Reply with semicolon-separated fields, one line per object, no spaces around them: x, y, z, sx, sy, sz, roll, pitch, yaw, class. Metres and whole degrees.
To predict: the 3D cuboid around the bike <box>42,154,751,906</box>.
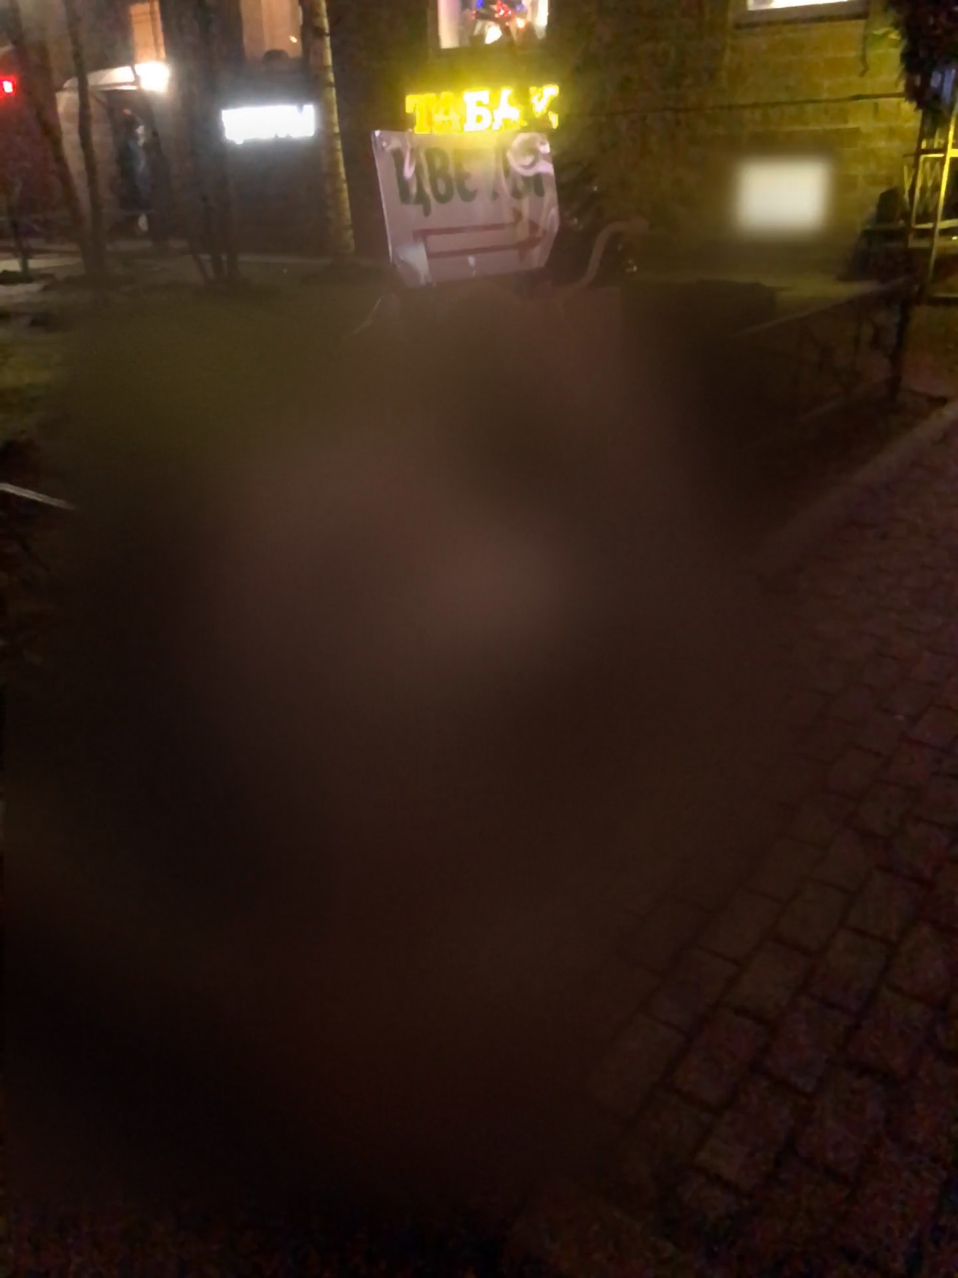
-0.006;-0.473;2.560;0.606;1.118;1.837;14;32;31;bike
